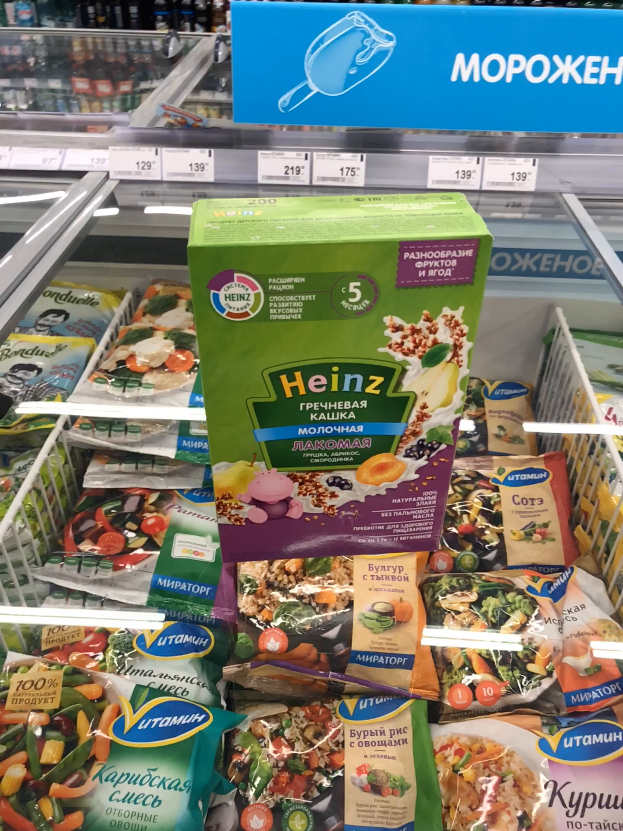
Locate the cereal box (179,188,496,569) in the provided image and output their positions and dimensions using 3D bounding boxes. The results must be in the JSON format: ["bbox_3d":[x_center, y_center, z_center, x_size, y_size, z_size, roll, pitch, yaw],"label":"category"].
[{"bbox_3d":[0.009,-0.010,0.358,0.130,0.199,0.050,-3,37,-5],"label":"cereal box"}]
